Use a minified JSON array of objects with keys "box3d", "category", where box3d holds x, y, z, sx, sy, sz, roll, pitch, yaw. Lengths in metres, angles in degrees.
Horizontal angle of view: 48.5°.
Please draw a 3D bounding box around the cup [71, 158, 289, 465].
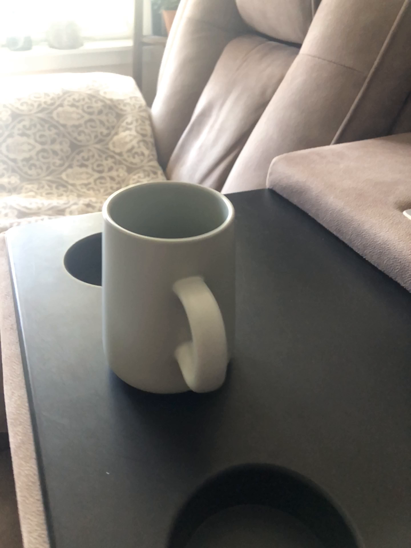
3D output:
[{"box3d":[-0.024,0.014,0.290,0.086,0.121,0.137,-11,36,-16],"category":"cup"}]
